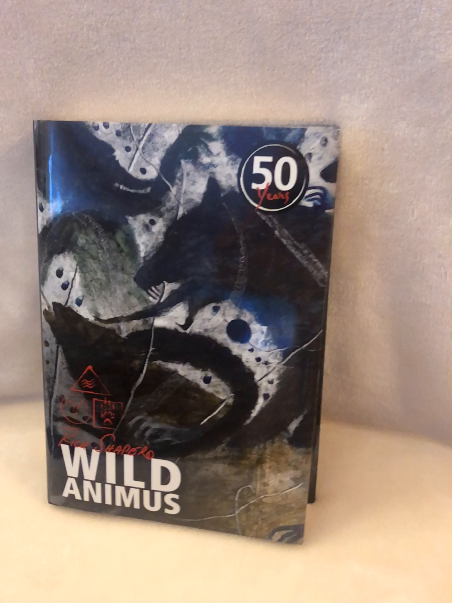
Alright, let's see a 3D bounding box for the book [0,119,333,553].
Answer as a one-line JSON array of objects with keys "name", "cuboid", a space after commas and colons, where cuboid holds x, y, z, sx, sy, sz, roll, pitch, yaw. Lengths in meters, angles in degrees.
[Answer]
[{"name": "book", "cuboid": [-0.033, 0.017, 0.279, 0.163, 0.216, 0.043, 4, 12, 10]}]
